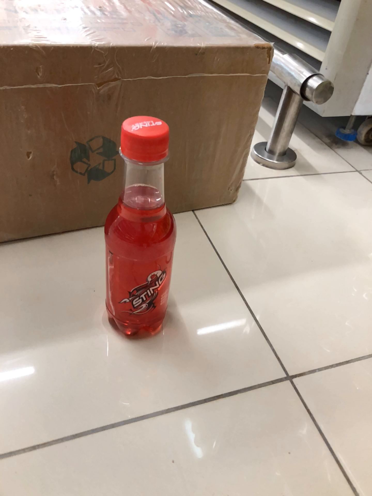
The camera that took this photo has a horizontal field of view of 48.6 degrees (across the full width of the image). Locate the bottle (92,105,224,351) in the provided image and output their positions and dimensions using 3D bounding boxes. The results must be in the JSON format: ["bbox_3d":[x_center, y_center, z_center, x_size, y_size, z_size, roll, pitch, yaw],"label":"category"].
[{"bbox_3d":[-0.031,-0.010,0.323,0.070,0.179,0.070,5,39,-4],"label":"bottle"}]
